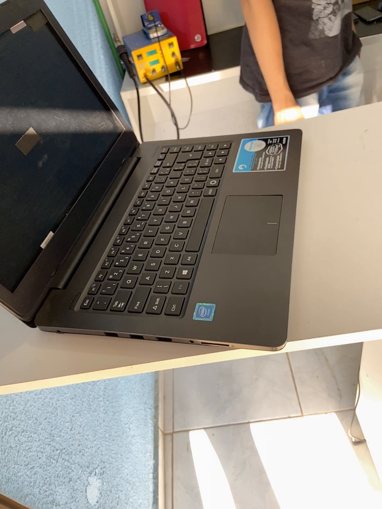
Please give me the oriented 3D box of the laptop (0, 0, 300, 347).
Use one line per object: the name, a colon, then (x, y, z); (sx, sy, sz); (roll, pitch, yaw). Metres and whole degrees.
laptop: (-0.062, -0.128, 0.396); (0.309, 0.214, 0.339); (1, 46, 18)
